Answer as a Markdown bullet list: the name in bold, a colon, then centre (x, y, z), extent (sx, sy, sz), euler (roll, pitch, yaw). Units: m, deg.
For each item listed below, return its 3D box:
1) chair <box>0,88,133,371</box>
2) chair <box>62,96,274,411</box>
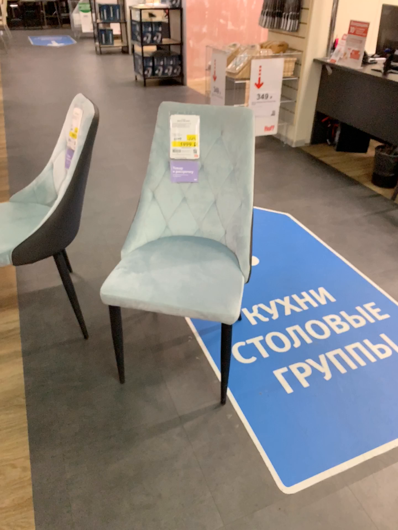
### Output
- **chair**: centre (-0.699, -0.170, 1.668), extent (0.666, 0.880, 0.571), euler (-12, 36, -19)
- **chair**: centre (-0.049, -0.048, 1.431), extent (0.470, 0.885, 0.553), euler (8, 35, 11)
